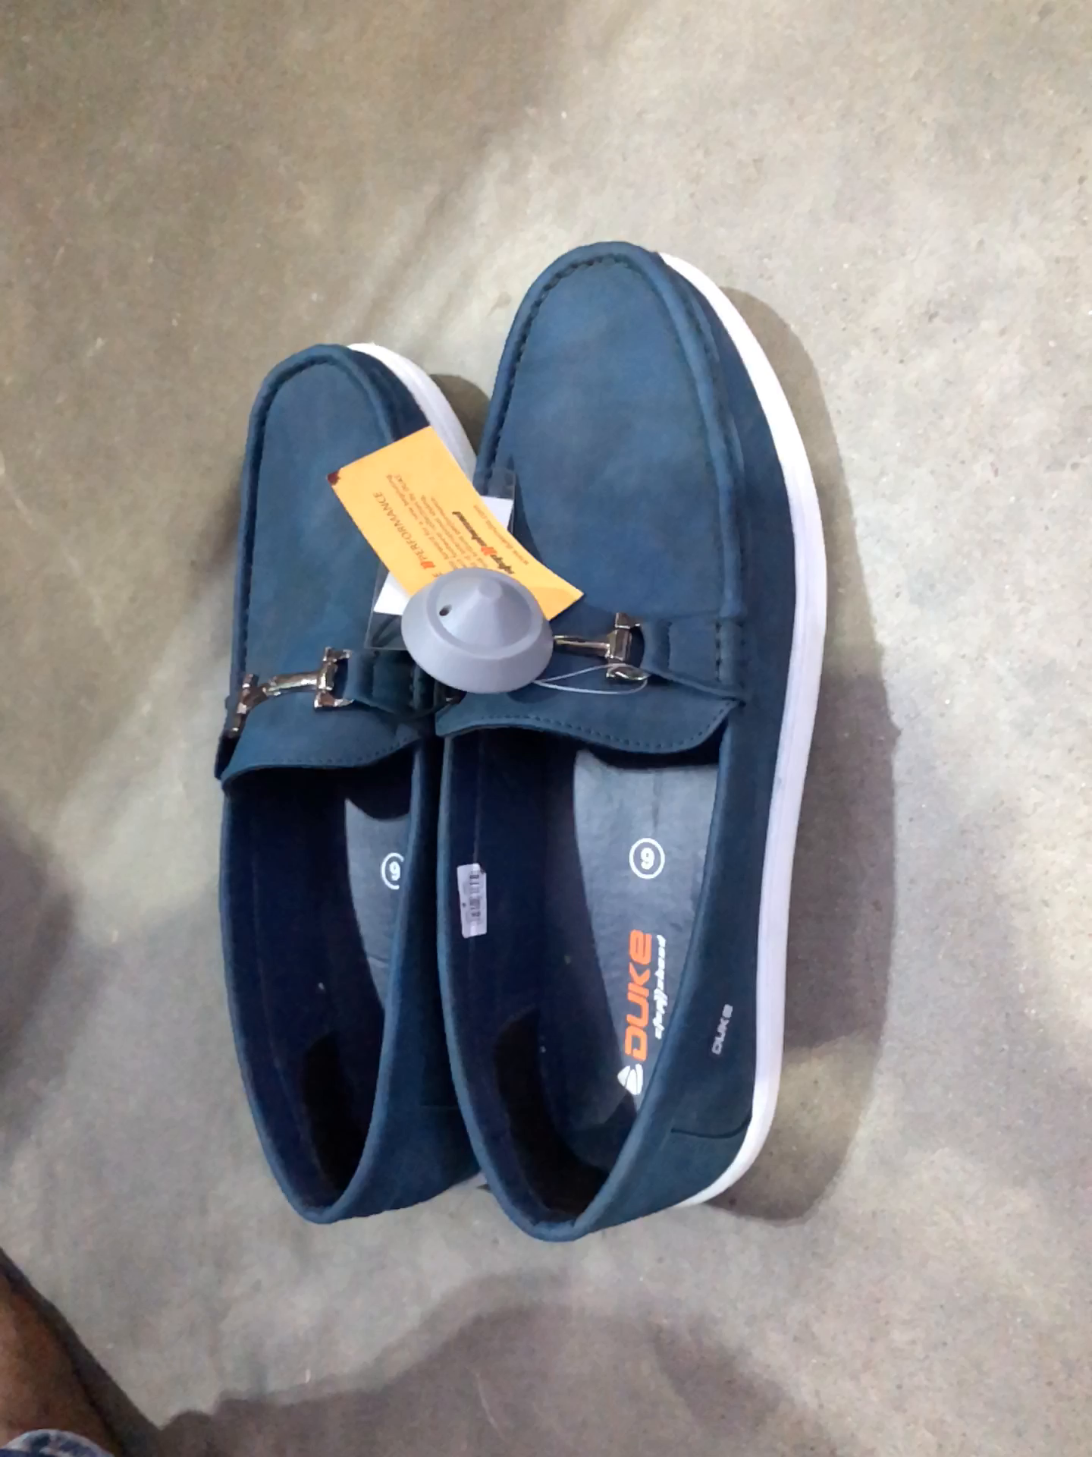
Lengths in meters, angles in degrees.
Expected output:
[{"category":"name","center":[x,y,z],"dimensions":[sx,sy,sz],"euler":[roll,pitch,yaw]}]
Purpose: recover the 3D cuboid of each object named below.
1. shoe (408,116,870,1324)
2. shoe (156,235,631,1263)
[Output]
[{"category":"shoe","center":[0.029,-0.002,0.373],"dimensions":[0.110,0.080,0.310],"euler":[-3,87,30]},{"category":"shoe","center":[-0.055,0.009,0.424],"dimensions":[0.110,0.080,0.310],"euler":[-9,84,30]}]
